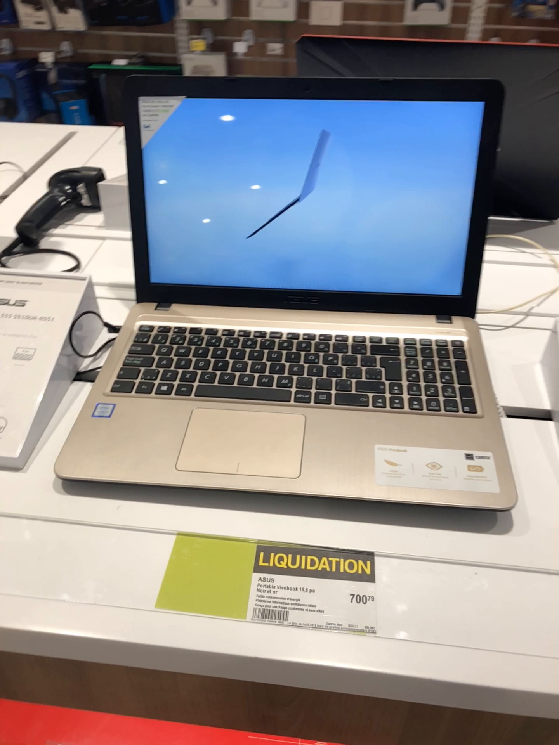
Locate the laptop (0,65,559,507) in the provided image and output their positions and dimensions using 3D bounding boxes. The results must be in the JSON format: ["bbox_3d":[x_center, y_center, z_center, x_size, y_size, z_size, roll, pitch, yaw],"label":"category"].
[{"bbox_3d":[0.016,-0.104,0.559,0.370,0.204,0.339,4,43,4],"label":"laptop"}]
